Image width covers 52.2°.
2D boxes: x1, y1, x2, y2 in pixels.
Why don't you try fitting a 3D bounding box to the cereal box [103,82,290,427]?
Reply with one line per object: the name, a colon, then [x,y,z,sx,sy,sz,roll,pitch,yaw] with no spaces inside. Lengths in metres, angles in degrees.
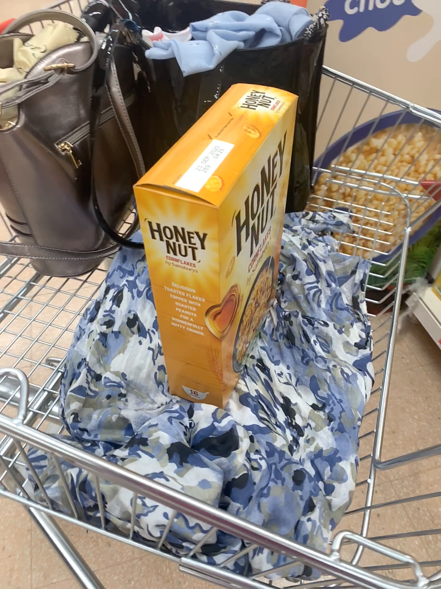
cereal box: [-0.007,-0.033,0.490,0.080,0.297,0.212,16,48,16]
